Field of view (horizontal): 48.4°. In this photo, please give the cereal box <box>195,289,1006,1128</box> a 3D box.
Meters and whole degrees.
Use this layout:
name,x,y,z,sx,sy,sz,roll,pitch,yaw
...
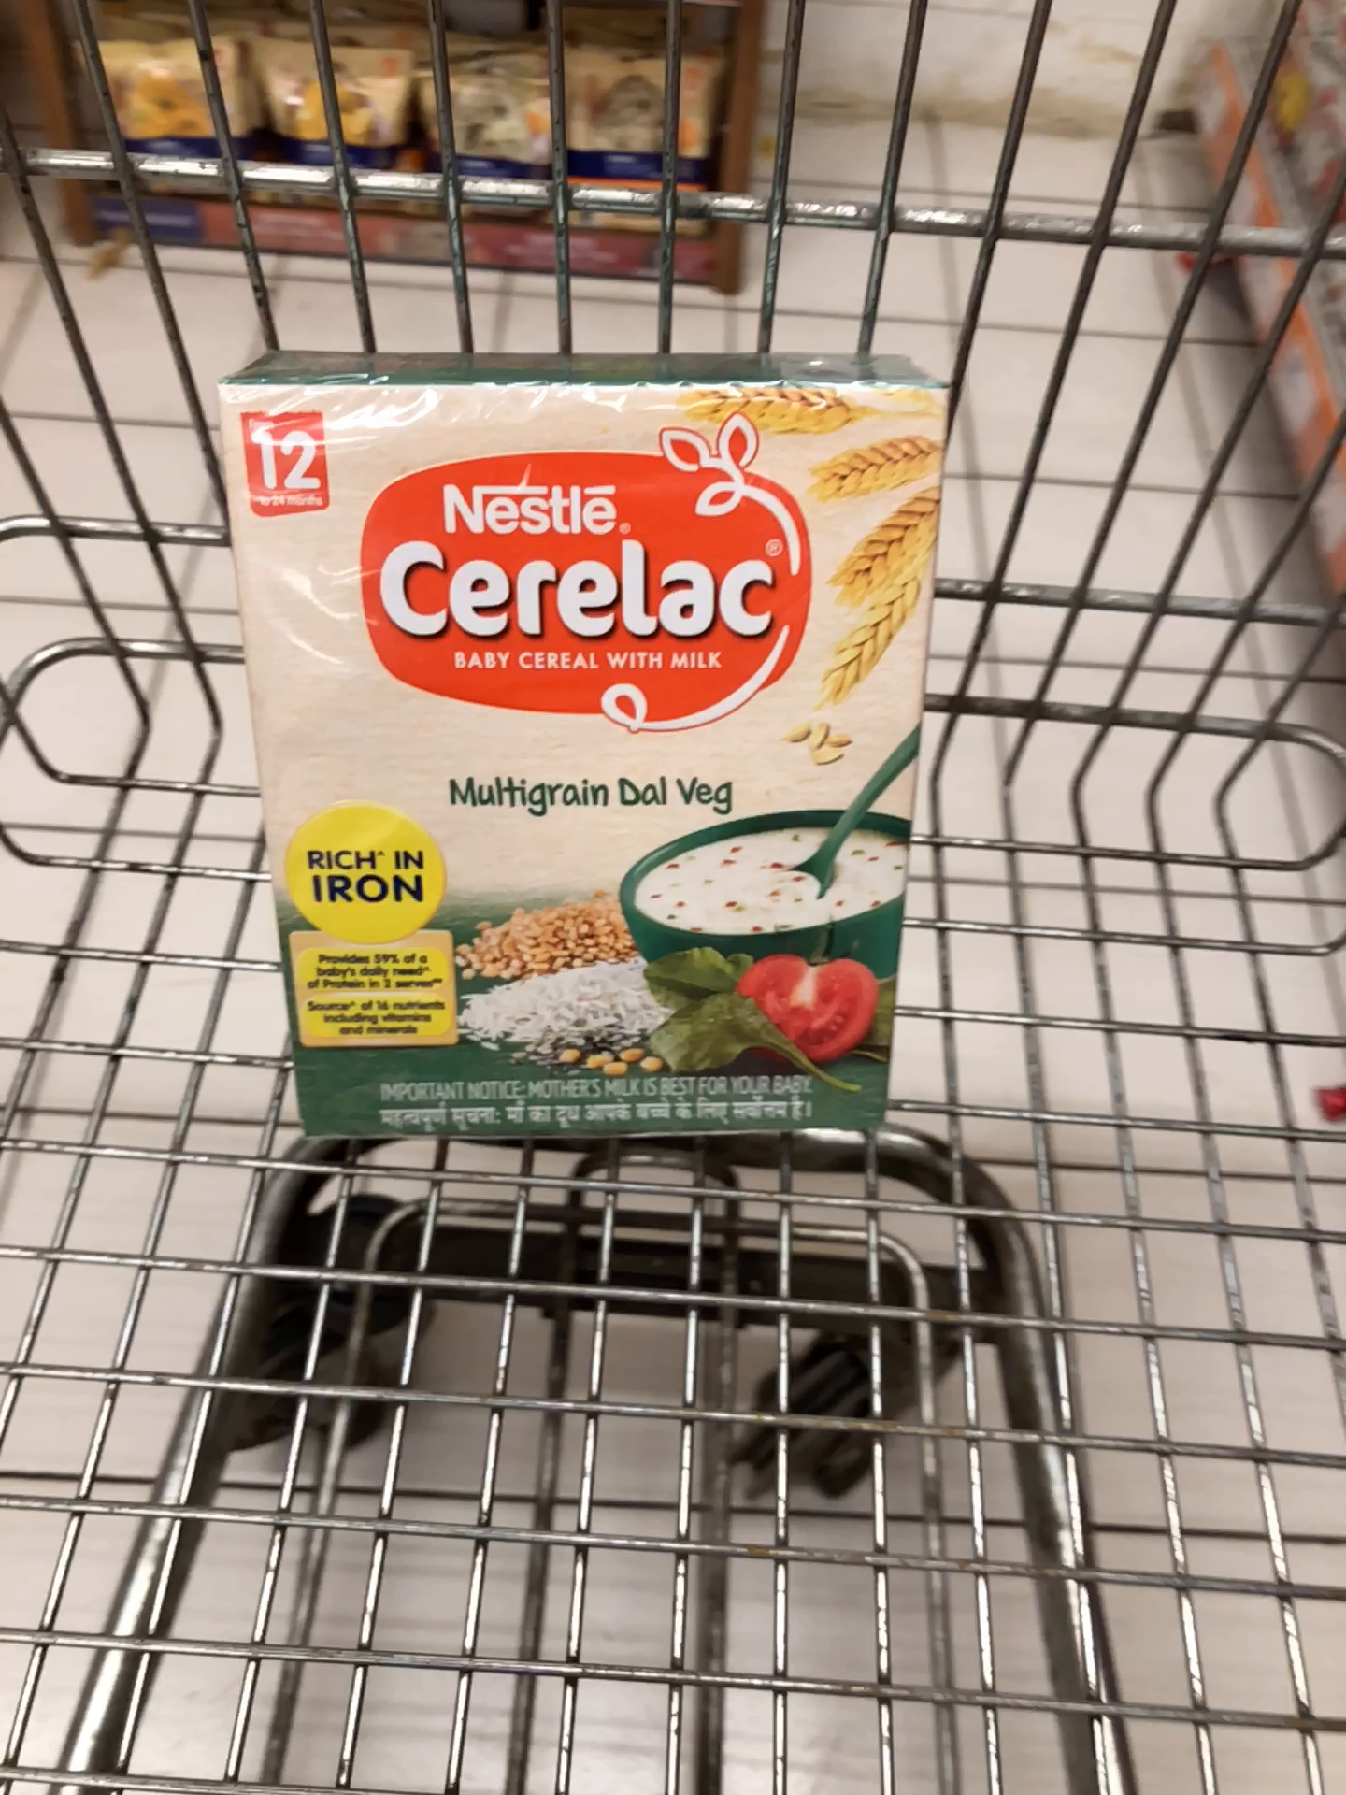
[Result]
name,x,y,z,sx,sy,sz,roll,pitch,yaw
cereal box,-0.017,-0.040,0.358,0.160,0.189,0.050,0,24,-4
